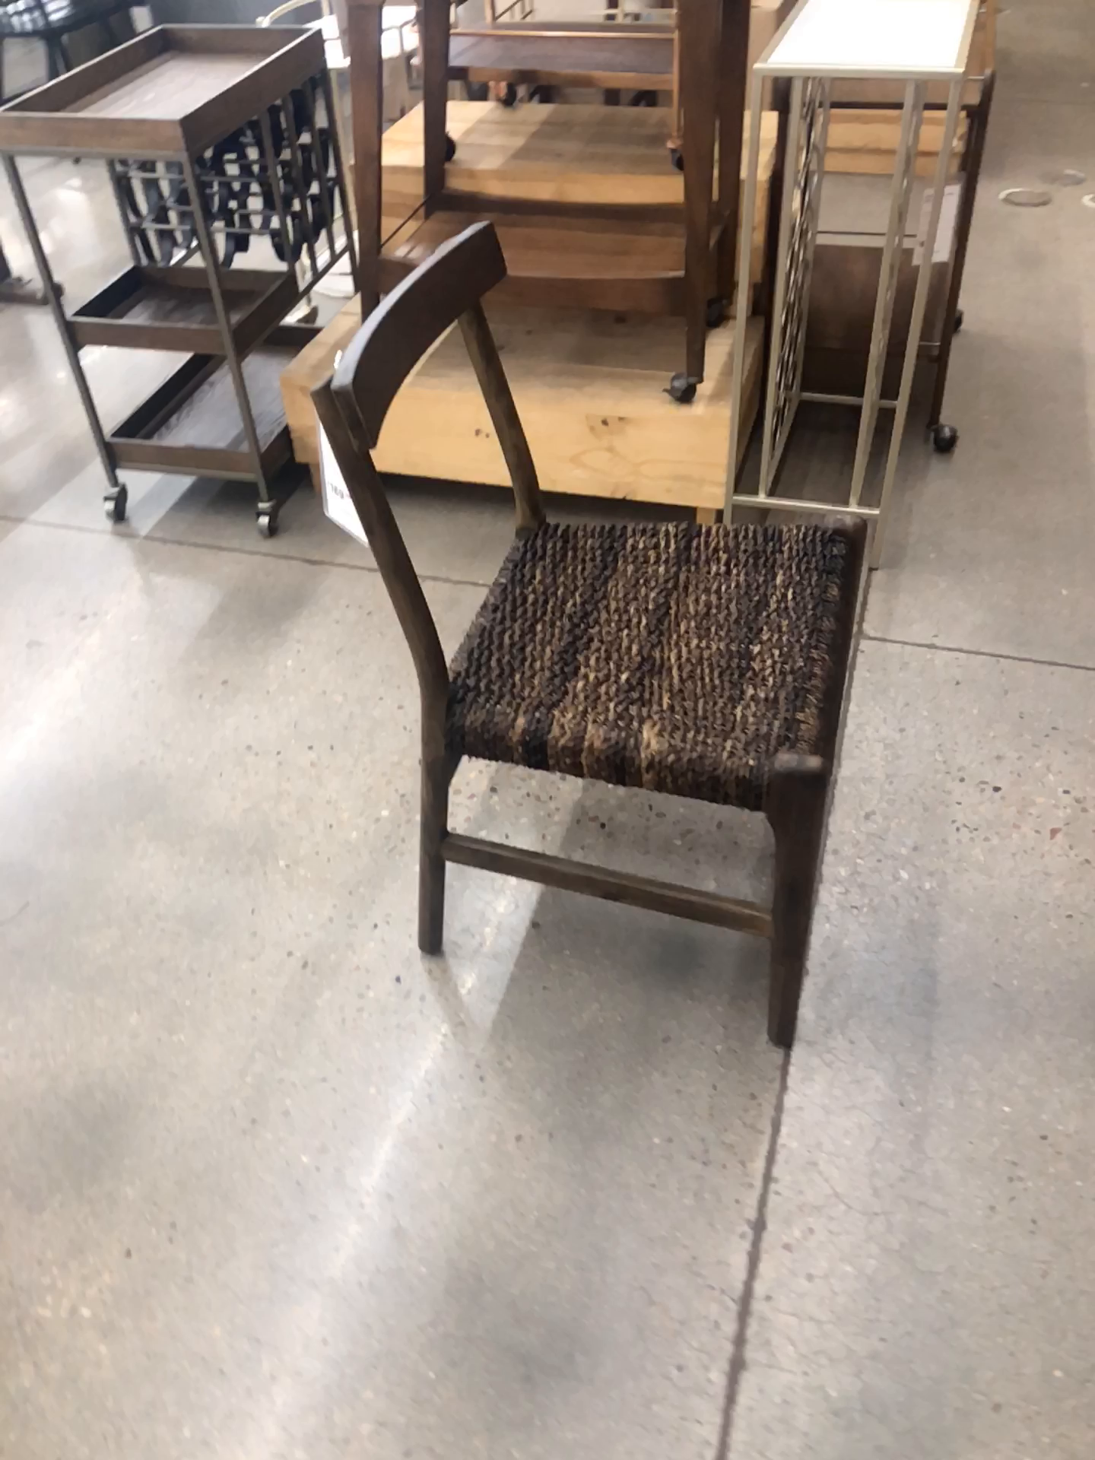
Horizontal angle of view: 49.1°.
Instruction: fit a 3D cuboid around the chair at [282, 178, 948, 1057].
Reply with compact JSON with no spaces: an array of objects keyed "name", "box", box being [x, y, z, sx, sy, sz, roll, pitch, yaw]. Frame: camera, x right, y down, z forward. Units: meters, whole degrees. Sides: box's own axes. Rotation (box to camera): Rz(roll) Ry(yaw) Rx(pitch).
[{"name":"chair","box":[0.119,-0.129,1.431,0.532,0.816,0.551,9,43,13]}]
